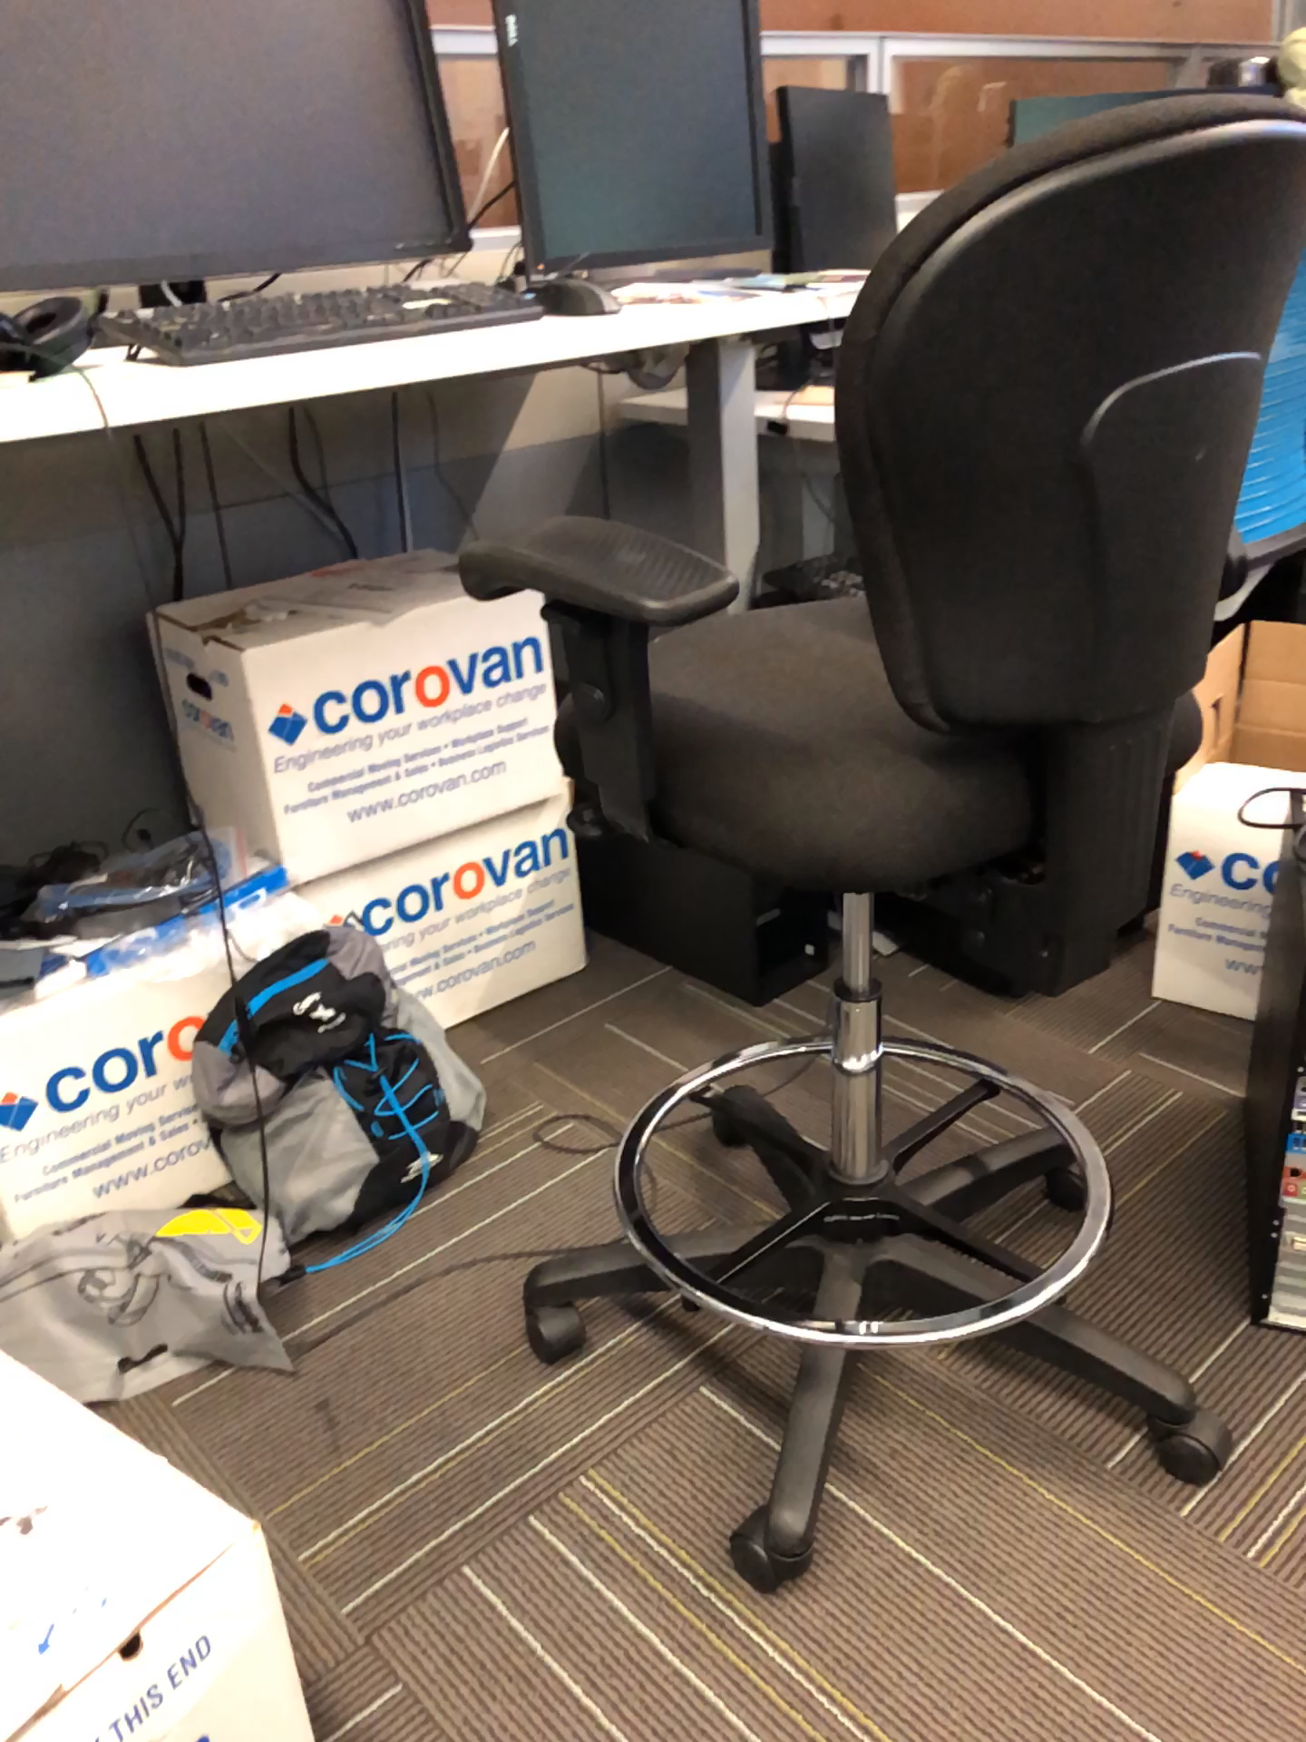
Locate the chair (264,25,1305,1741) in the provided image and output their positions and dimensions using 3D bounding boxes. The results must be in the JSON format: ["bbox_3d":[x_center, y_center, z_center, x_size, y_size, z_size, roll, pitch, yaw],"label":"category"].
[{"bbox_3d":[0.203,-0.050,1.275,0.641,1.134,0.732,-21,30,-33],"label":"chair"}]
